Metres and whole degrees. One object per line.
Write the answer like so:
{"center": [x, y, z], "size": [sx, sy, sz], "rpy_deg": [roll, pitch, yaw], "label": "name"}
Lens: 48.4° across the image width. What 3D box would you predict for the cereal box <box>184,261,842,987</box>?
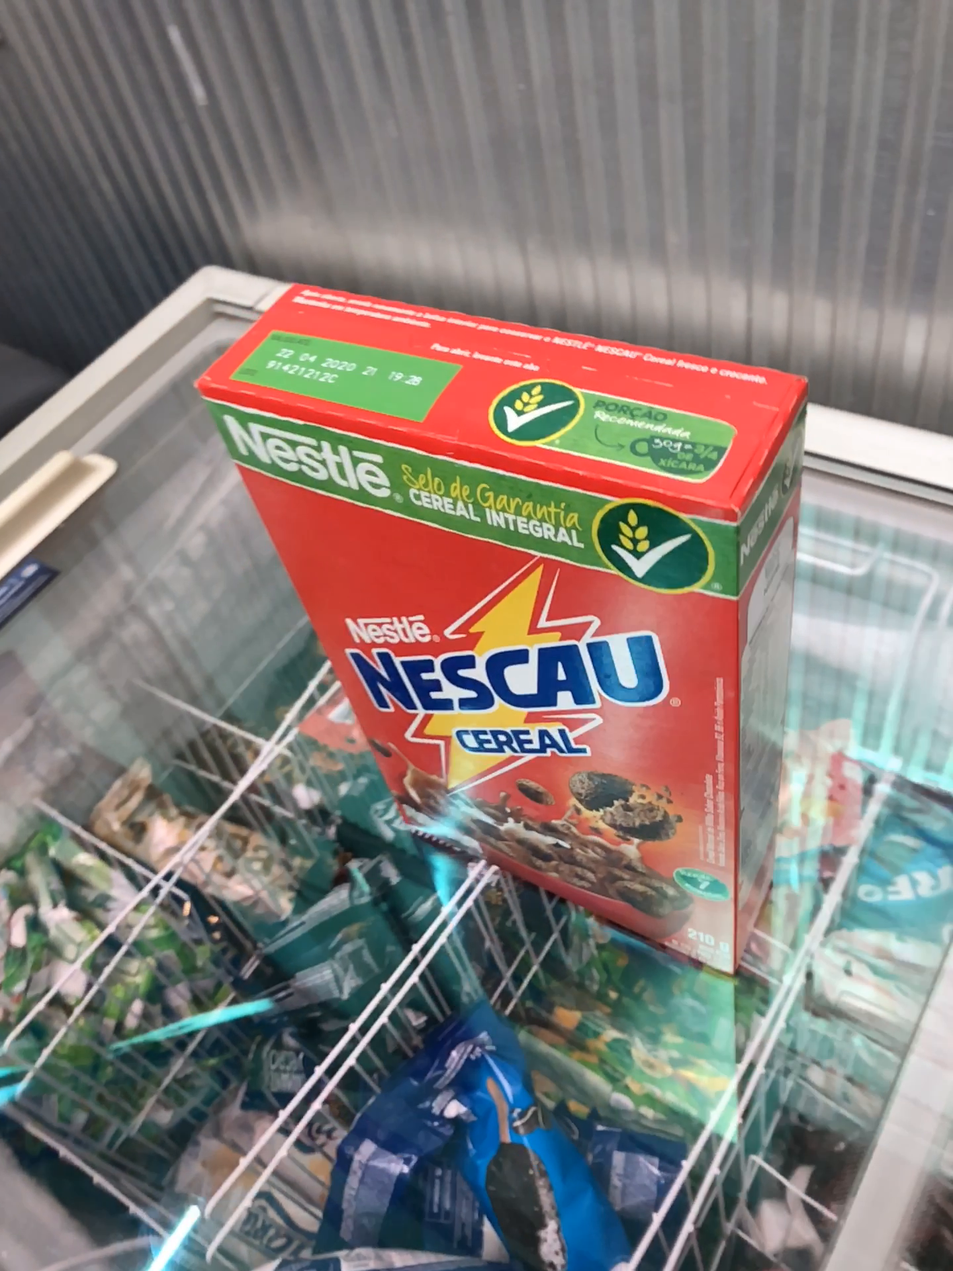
{"center": [0.024, 0.012, 0.370], "size": [0.170, 0.258, 0.050], "rpy_deg": [21, 58, 28], "label": "cereal box"}
